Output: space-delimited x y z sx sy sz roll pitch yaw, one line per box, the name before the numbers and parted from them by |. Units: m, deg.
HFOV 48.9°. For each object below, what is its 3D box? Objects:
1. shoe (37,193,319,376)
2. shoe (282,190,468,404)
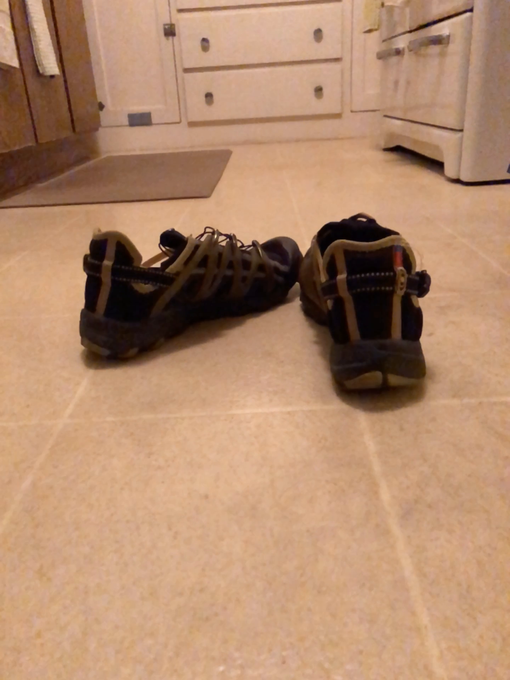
shoe | -0.065 -0.075 0.597 0.280 0.109 0.100 -22 30 -36
shoe | 0.094 -0.063 0.549 0.109 0.111 0.288 -4 24 -1
